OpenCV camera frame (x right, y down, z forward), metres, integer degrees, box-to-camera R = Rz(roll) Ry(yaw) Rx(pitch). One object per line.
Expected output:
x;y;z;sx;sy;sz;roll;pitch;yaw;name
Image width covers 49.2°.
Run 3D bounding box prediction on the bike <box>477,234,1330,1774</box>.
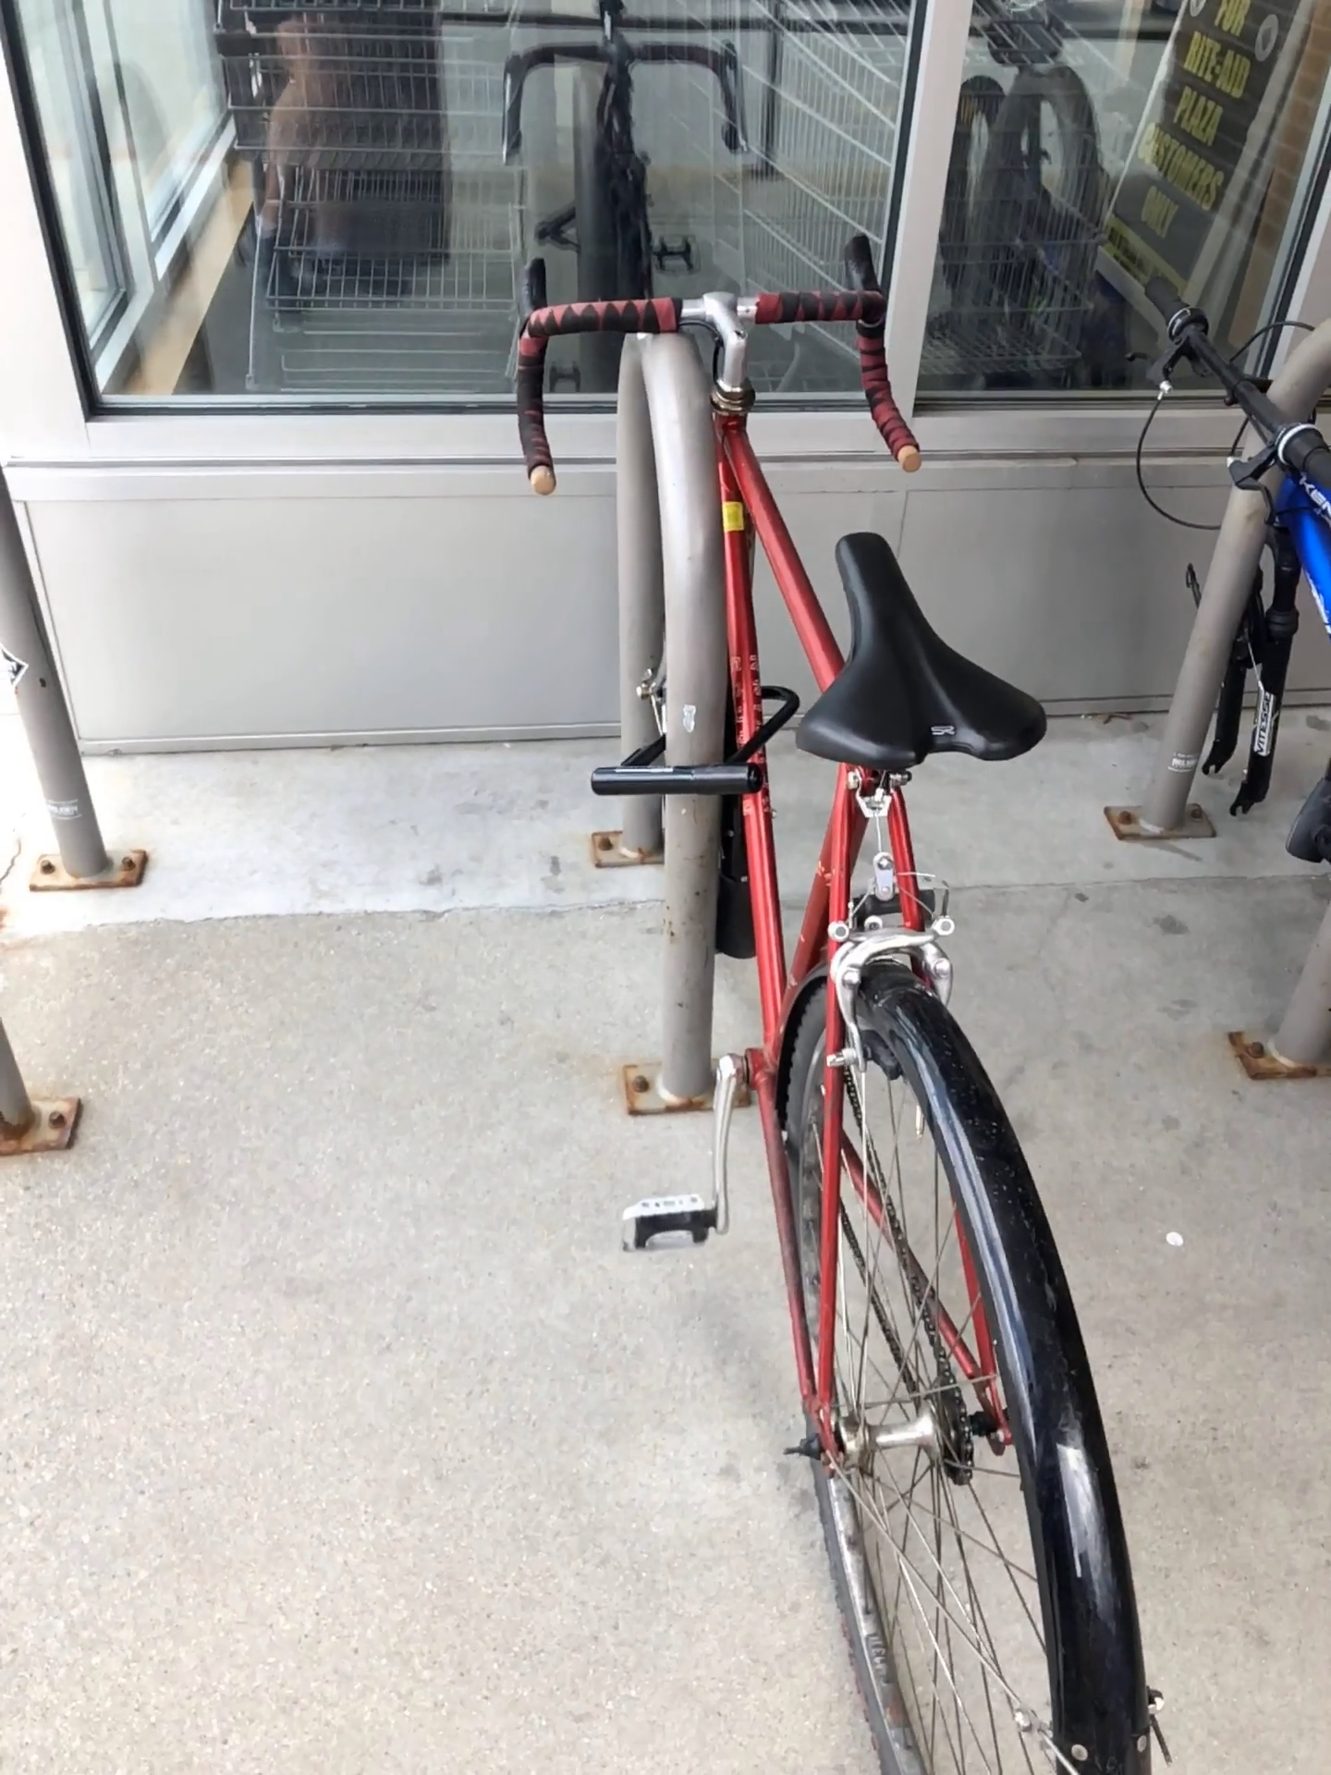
0.097;0.052;1.459;0.458;0.787;1.700;-4;42;-7;bike
